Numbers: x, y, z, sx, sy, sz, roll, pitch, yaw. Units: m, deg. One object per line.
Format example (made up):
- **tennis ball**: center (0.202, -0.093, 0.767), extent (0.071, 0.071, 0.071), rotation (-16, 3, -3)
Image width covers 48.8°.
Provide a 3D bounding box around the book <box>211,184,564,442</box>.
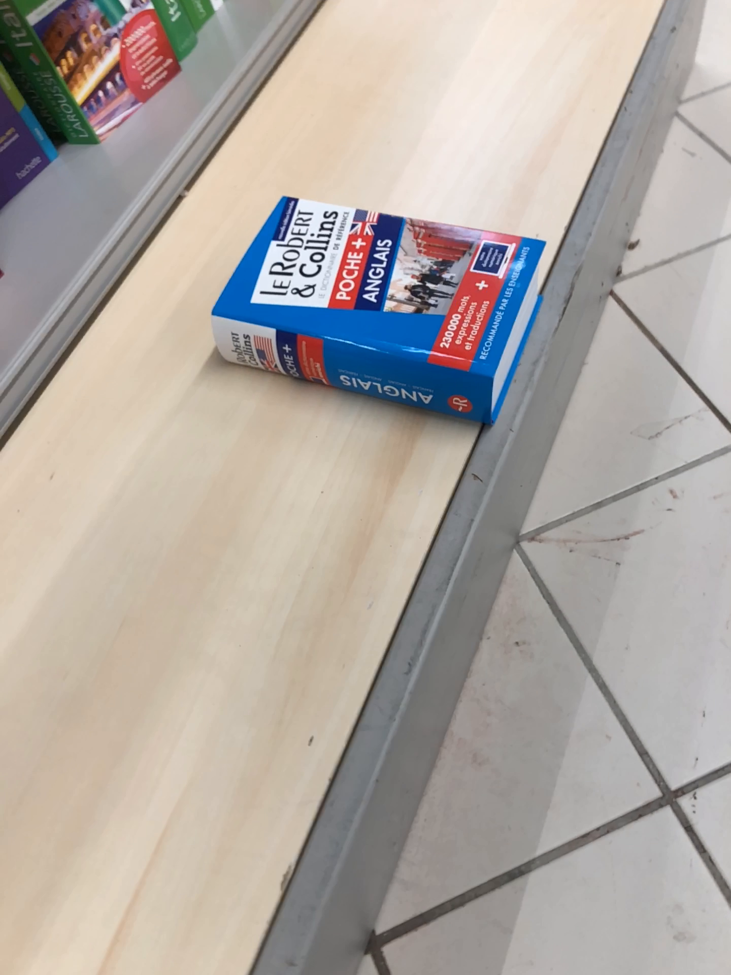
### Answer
- **book**: center (0.017, -0.116, 0.513), extent (0.183, 0.051, 0.129), rotation (16, 61, 16)
